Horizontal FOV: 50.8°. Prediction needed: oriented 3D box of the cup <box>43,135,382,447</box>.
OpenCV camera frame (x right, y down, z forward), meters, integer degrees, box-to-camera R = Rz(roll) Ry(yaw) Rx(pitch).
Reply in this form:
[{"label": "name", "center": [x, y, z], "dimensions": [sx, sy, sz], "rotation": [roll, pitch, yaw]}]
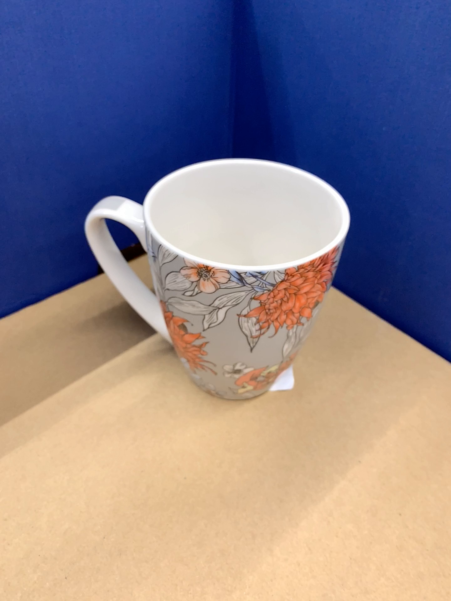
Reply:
[{"label": "cup", "center": [-0.002, -0.012, 0.231], "dimensions": [0.117, 0.085, 0.092], "rotation": [18, 42, 17]}]
